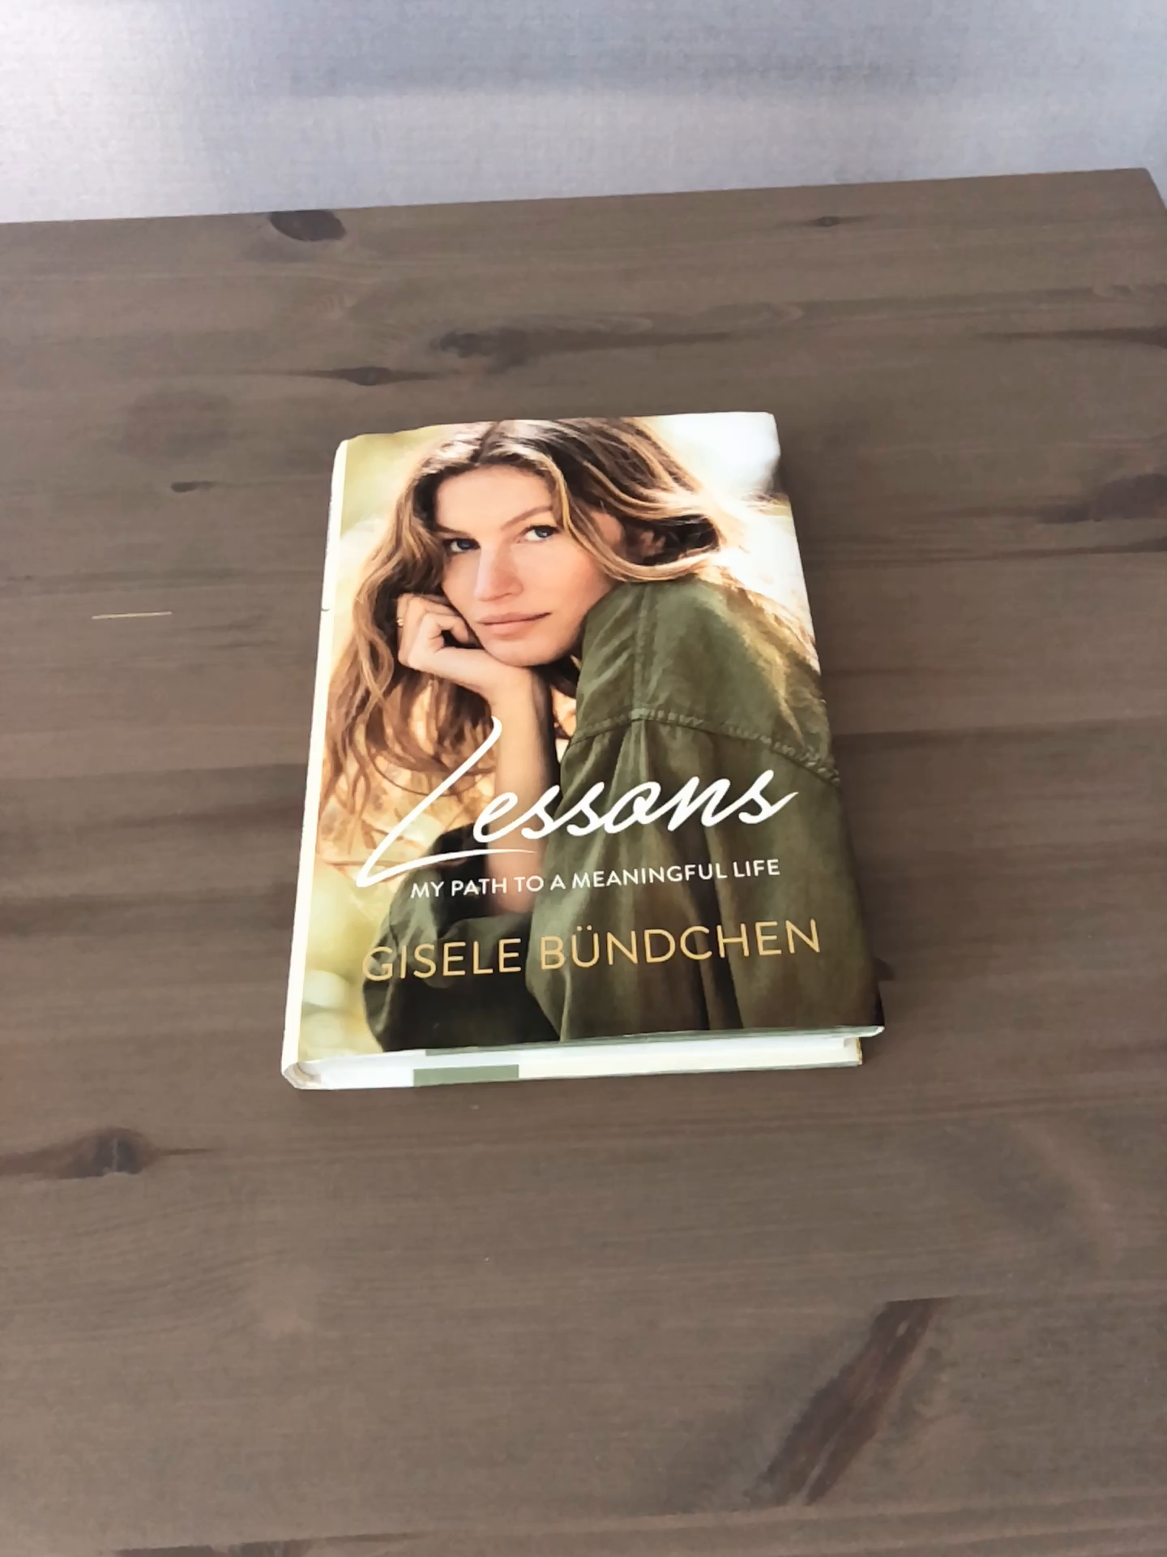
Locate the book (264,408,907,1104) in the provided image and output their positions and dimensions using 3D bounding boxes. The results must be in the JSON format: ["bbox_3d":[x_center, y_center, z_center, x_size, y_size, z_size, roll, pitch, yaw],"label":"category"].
[{"bbox_3d":[-0.005,-0.020,0.397,0.160,0.030,0.228,-3,57,-1],"label":"book"}]
